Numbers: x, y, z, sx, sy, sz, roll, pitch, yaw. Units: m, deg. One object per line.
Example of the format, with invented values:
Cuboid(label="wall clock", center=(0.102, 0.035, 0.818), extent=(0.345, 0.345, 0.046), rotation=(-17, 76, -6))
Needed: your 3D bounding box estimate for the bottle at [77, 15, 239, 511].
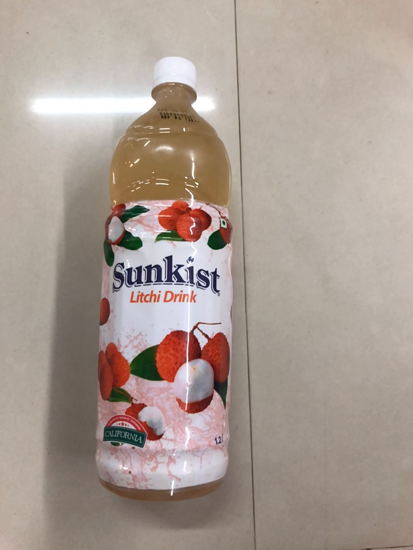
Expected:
Cuboid(label="bottle", center=(-0.027, -0.011, 0.317), extent=(0.090, 0.080, 0.300), rotation=(1, 84, -2))
